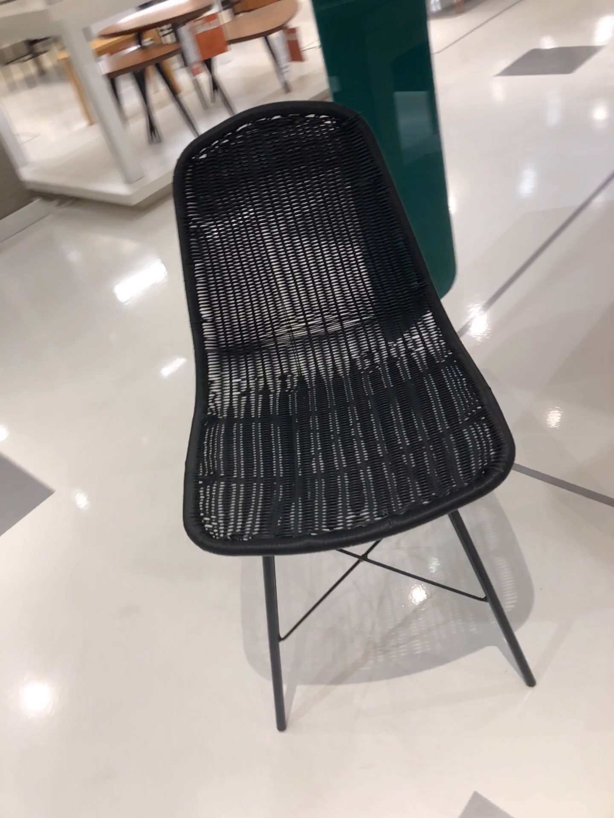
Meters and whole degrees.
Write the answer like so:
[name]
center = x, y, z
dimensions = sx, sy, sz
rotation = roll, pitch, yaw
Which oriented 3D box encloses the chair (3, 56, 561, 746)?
[chair]
center = 0.040, 0.010, 1.028
dimensions = 0.480, 0.794, 0.554
rotation = -14, 38, 5
